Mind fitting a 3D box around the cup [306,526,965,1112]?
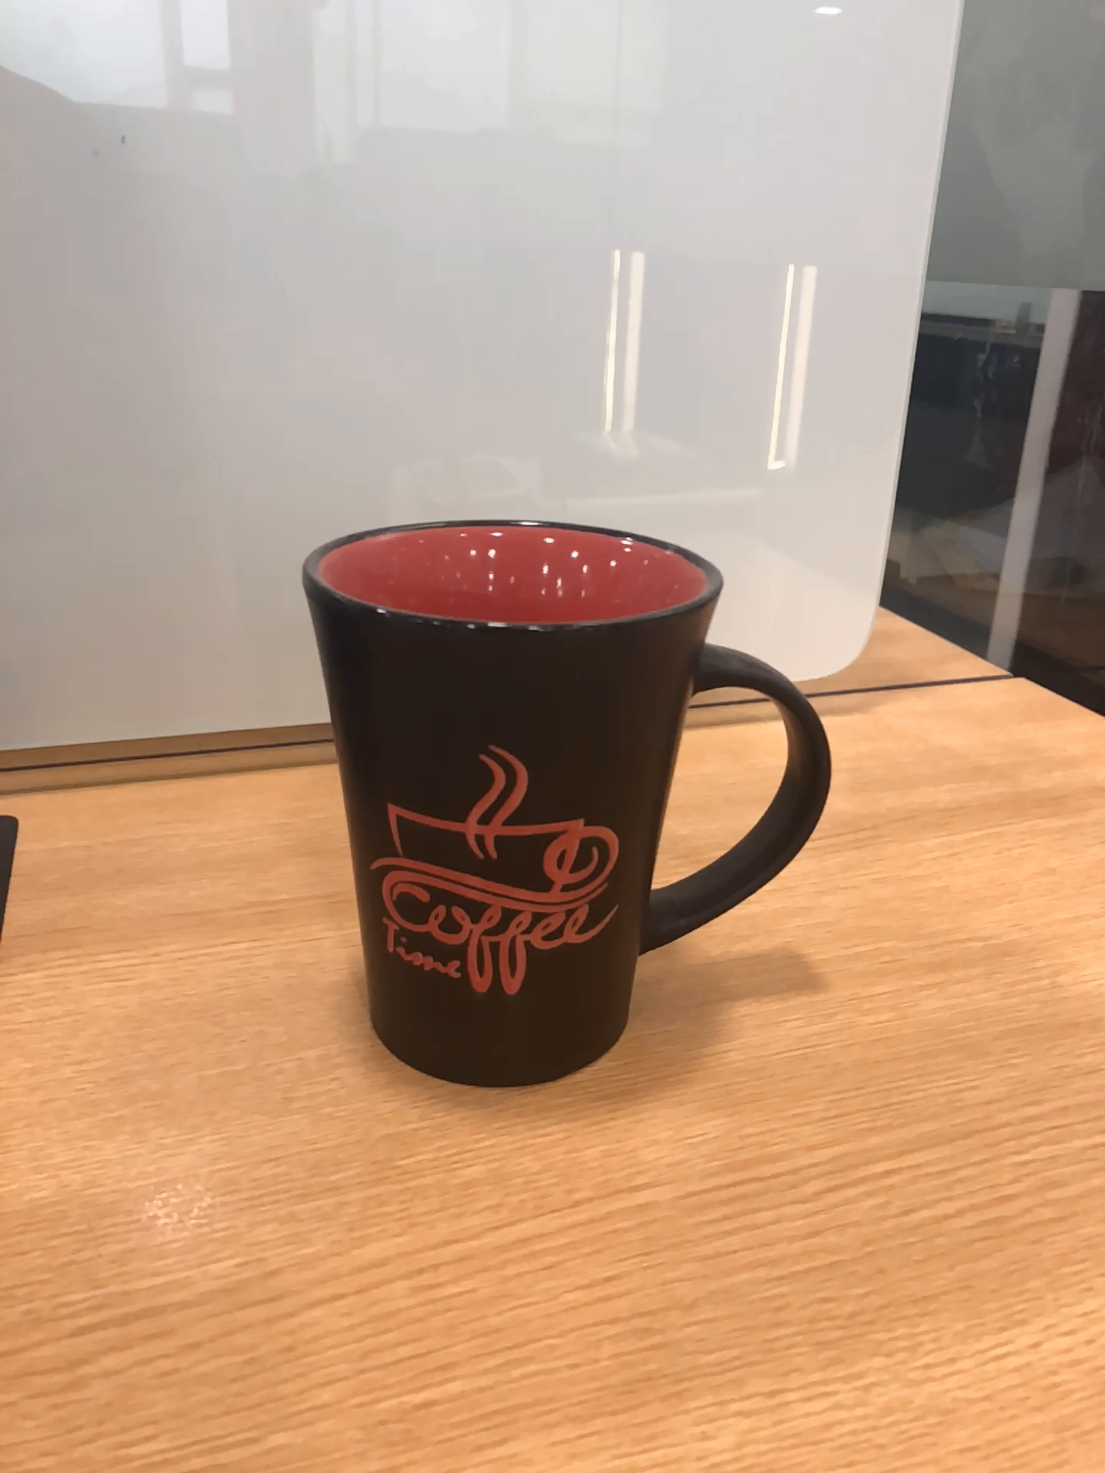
[{"bbox_3d":[0.010,0.011,0.279,0.120,0.100,0.090,-1,22,-8],"label":"cup"}]
